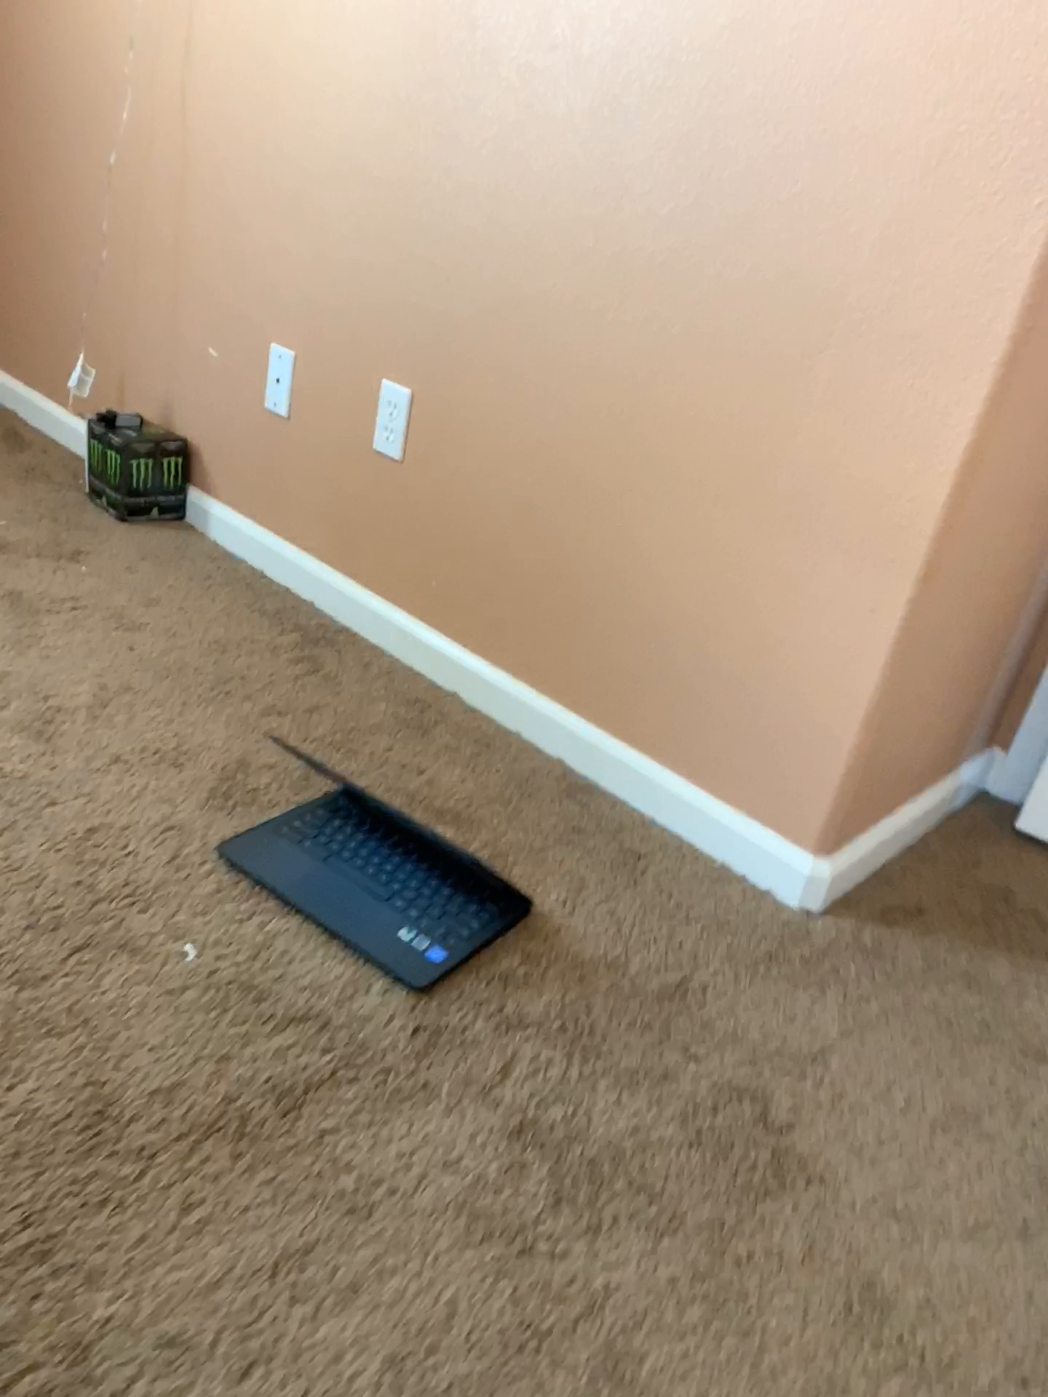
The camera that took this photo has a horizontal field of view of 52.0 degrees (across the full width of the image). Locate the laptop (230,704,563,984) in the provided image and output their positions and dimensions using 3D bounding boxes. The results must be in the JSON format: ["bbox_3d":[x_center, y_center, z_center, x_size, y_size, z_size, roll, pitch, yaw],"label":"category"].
[{"bbox_3d":[-0.140,0.141,1.160,0.289,0.127,0.195,27,26,27],"label":"laptop"}]
